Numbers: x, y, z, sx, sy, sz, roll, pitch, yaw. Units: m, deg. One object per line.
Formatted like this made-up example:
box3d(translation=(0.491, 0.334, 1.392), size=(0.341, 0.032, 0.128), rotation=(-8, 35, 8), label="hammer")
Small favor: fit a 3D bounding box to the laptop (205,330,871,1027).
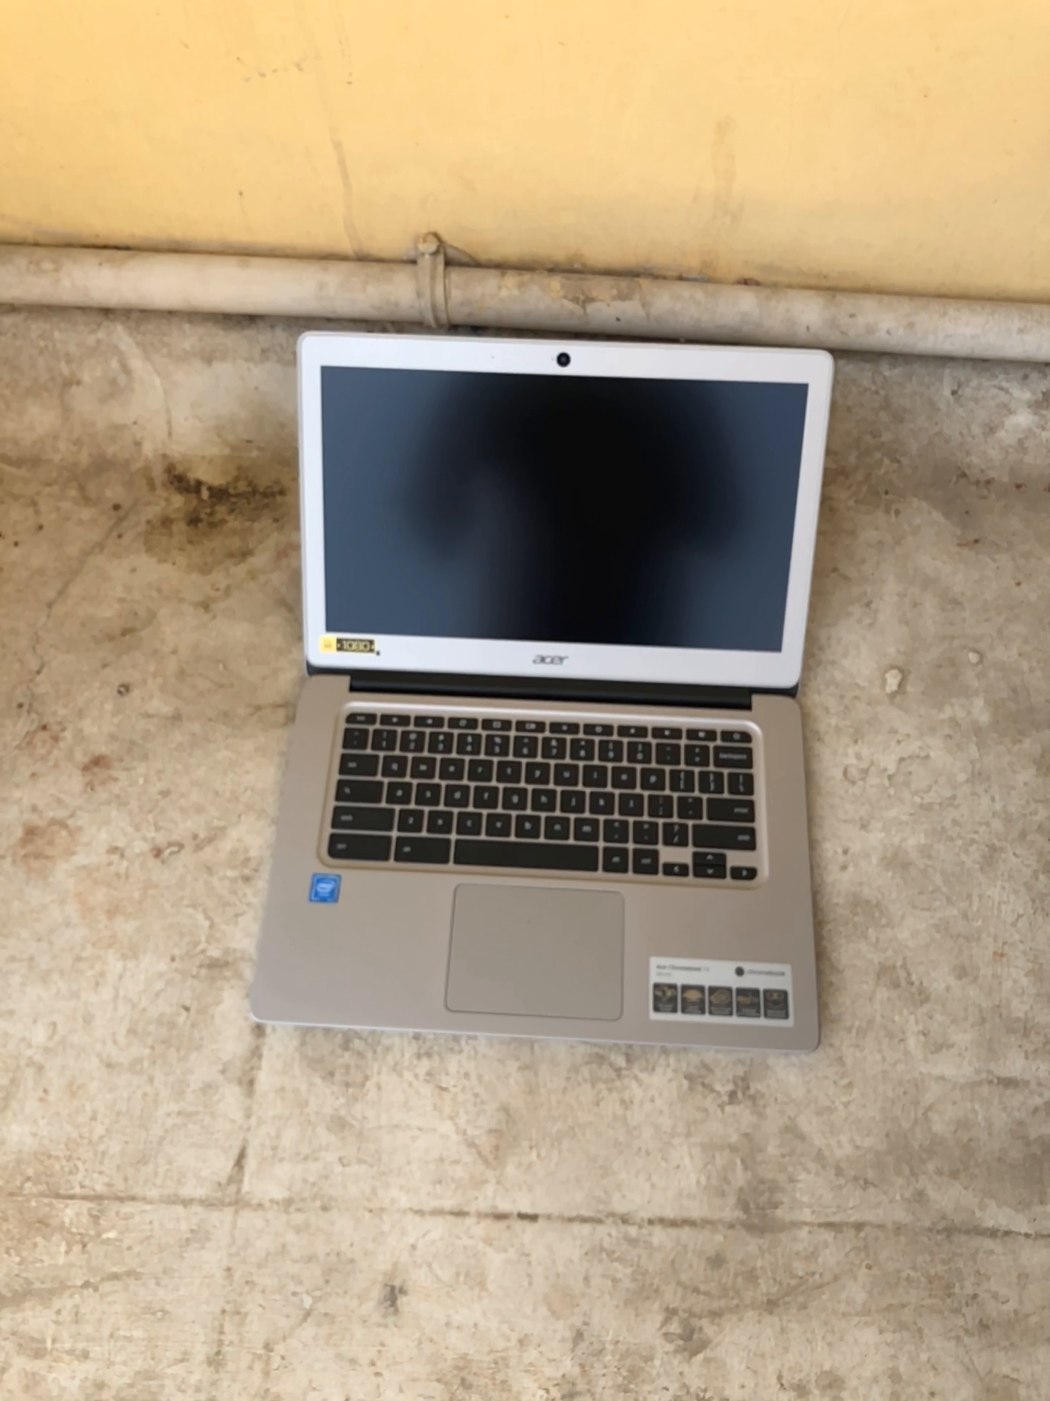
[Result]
box3d(translation=(0.014, -0.020, 0.692), size=(0.315, 0.136, 0.380), rotation=(2, 65, 2), label="laptop")
